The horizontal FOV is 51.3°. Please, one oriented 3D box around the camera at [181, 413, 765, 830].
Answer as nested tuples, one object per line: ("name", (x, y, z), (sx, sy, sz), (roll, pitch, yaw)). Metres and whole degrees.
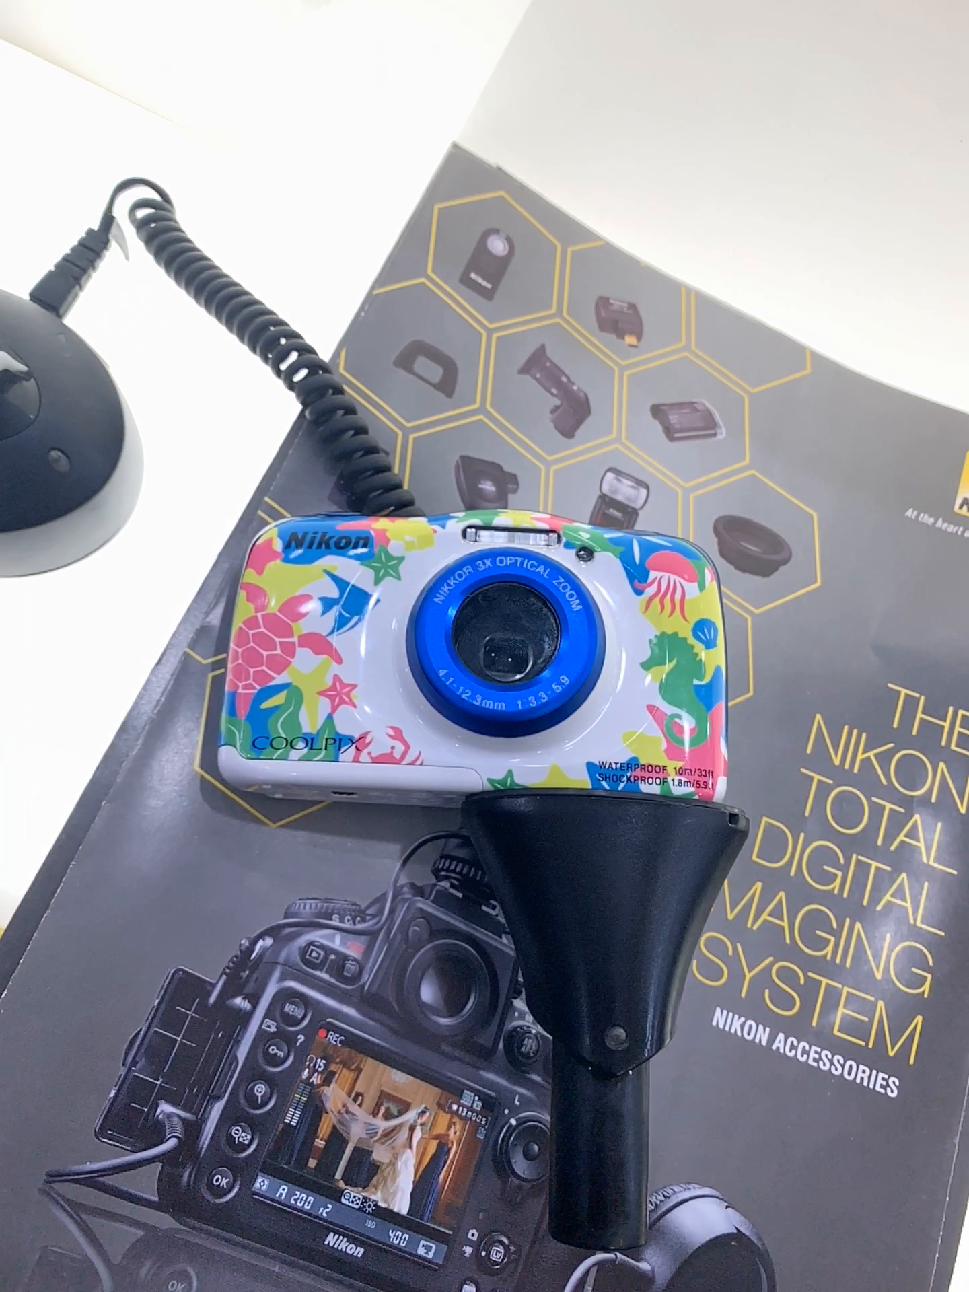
("camera", (-0.001, -0.006, 0.219), (0.110, 0.030, 0.080), (3, 67, -1))
